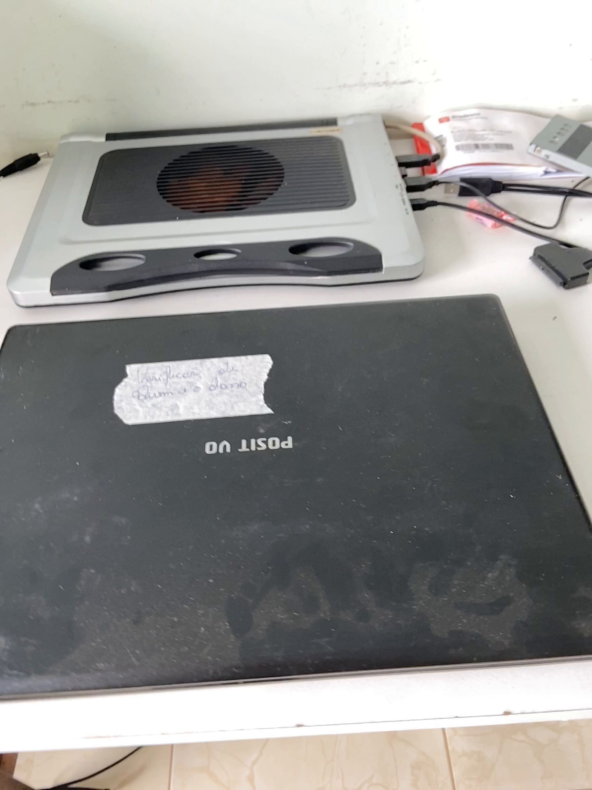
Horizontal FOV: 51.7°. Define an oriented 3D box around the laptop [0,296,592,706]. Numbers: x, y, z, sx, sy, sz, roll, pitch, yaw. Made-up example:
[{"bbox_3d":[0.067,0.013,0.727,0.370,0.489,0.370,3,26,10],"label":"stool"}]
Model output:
[{"bbox_3d":[-0.024,0.035,0.345,0.328,0.008,0.234,-4,49,0],"label":"laptop"}]
